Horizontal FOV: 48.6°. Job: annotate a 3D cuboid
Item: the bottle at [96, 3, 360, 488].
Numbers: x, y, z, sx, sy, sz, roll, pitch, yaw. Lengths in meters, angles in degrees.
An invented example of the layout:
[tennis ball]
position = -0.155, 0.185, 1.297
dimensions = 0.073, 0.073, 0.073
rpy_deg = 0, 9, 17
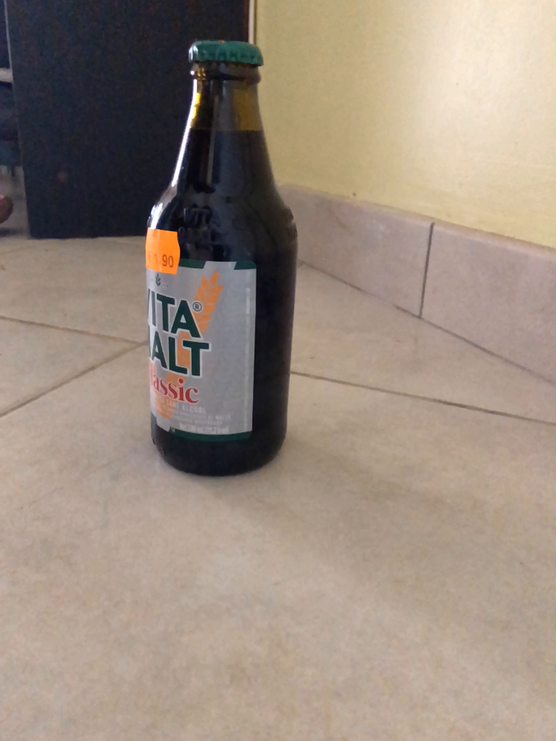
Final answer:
[bottle]
position = -0.022, -0.050, 0.261
dimensions = 0.070, 0.169, 0.070
rpy_deg = 2, 22, -1
